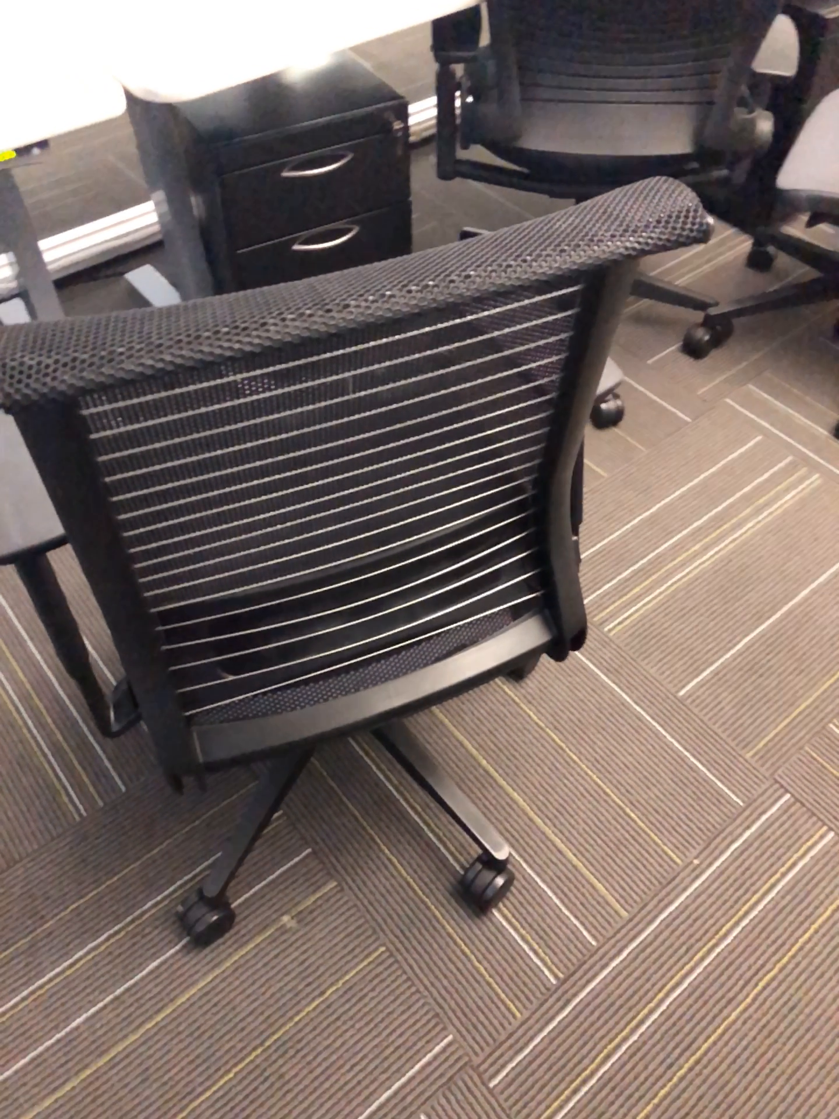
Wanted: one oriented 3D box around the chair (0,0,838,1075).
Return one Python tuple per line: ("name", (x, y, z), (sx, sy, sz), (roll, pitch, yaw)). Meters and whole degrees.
("chair", (-0.107, -0.059, 1.018), (0.750, 0.996, 0.662), (-20, 52, -16))
